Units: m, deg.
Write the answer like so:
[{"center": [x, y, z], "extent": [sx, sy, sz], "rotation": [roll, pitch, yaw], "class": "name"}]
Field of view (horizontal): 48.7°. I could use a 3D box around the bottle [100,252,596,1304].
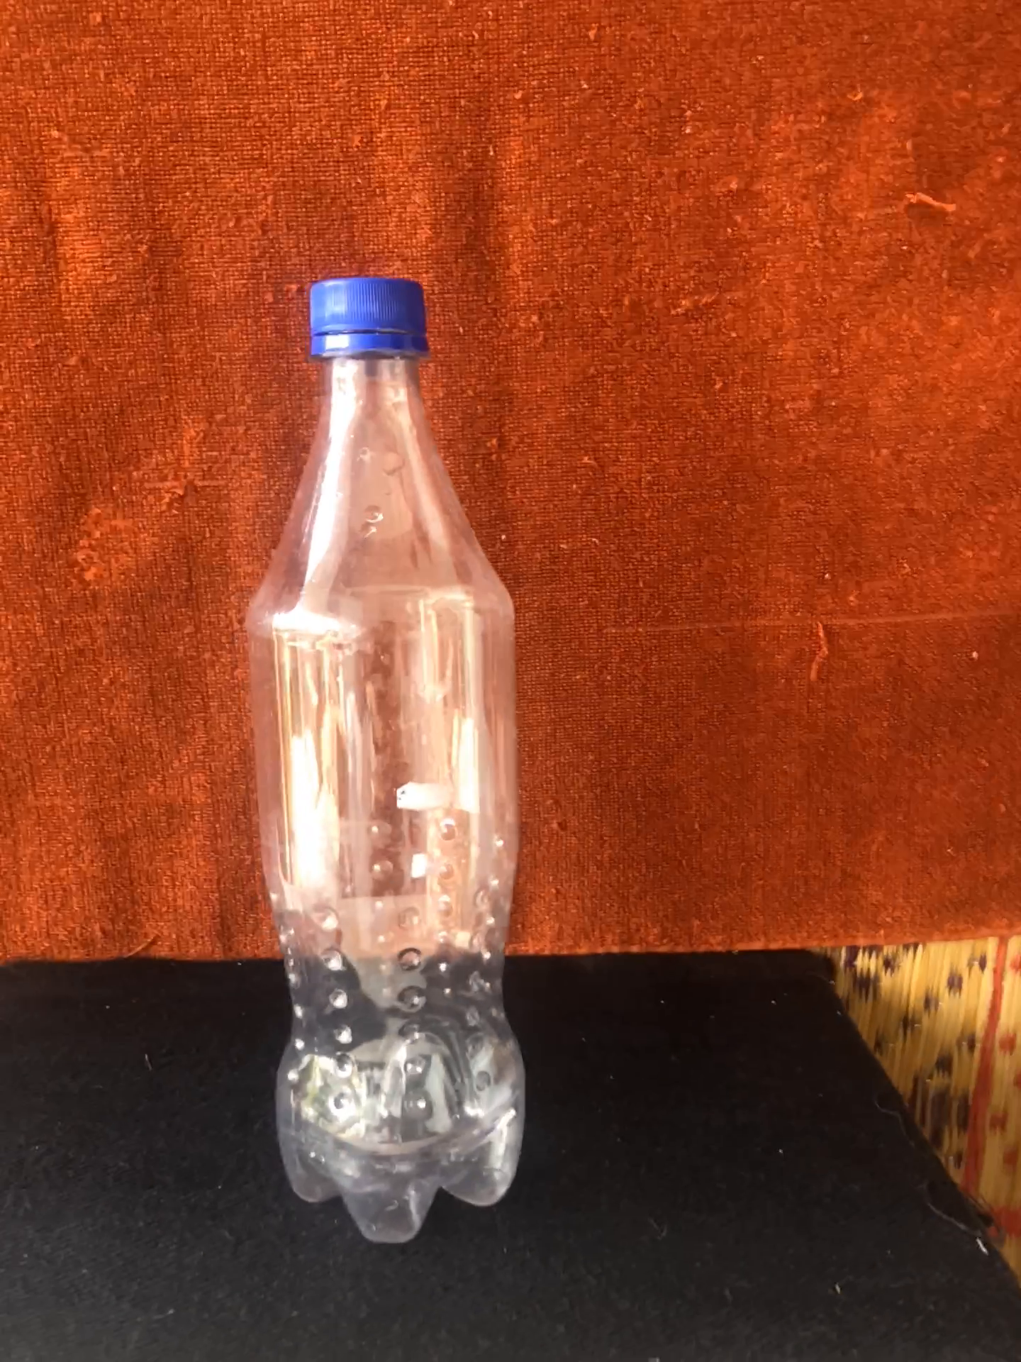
[{"center": [-0.036, 0.021, 0.311], "extent": [0.090, 0.249, 0.080], "rotation": [8, 17, 33], "class": "bottle"}]
